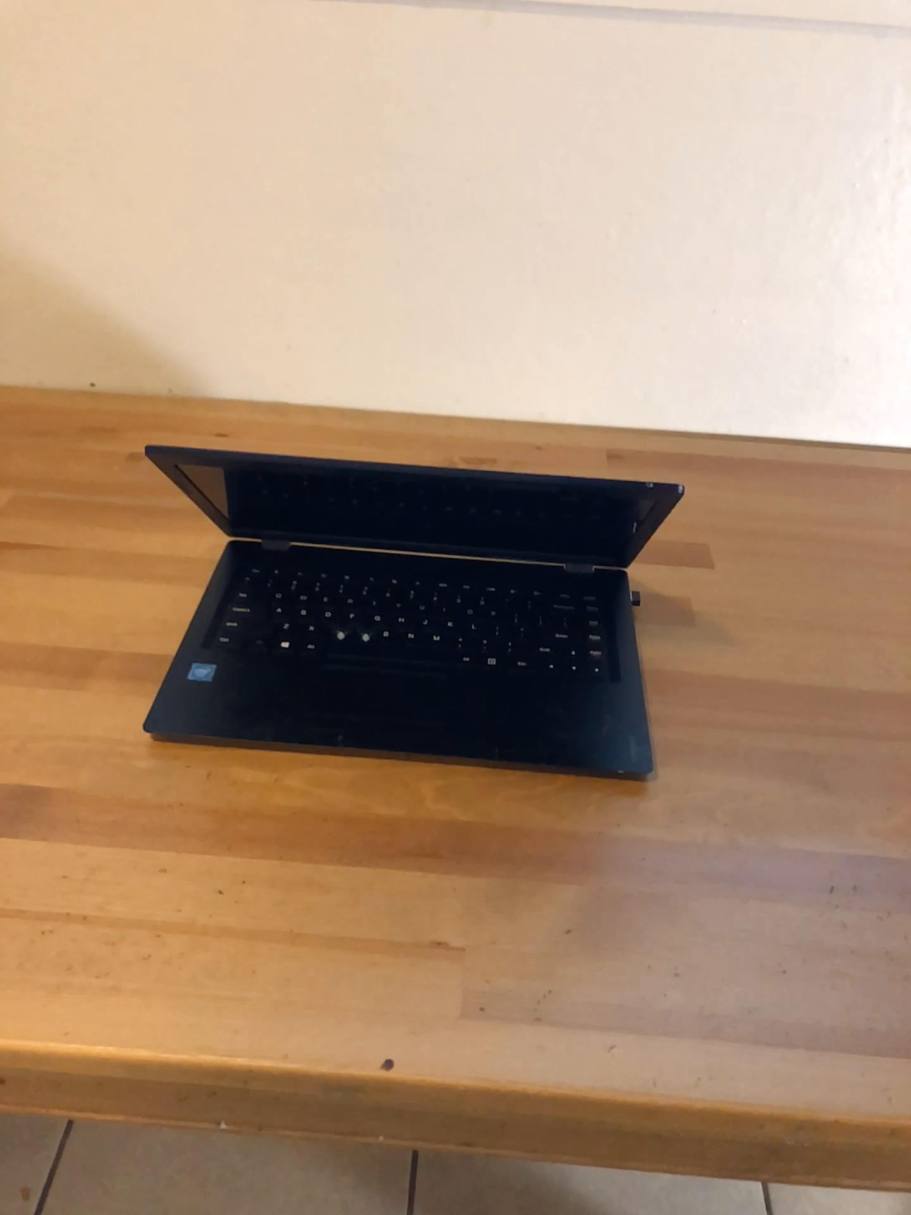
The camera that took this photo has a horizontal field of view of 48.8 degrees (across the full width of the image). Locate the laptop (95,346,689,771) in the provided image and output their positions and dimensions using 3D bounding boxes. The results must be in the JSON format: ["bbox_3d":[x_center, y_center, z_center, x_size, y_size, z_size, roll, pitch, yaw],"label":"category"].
[{"bbox_3d":[-0.030,-0.041,0.666,0.316,0.161,0.217,5,37,1],"label":"laptop"}]
